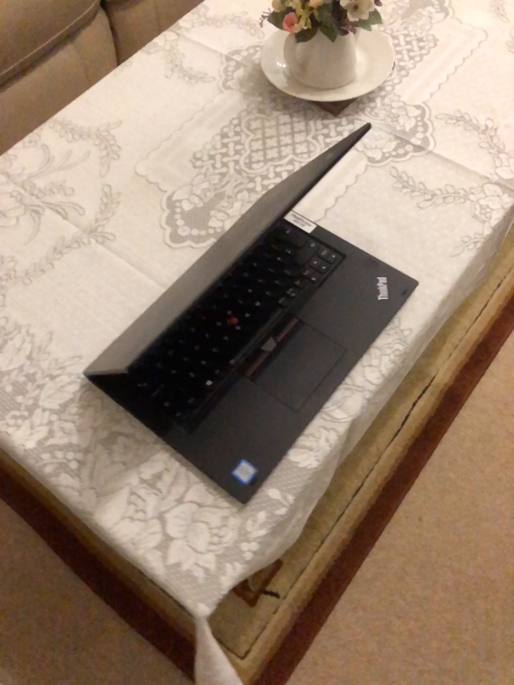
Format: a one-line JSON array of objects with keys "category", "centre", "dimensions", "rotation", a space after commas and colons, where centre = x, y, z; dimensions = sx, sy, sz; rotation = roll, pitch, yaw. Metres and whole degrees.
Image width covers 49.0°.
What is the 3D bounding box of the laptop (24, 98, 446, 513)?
[{"category": "laptop", "centre": [-0.009, -0.040, 0.569], "dimensions": [0.220, 0.174, 0.309], "rotation": [35, 70, 19]}]
